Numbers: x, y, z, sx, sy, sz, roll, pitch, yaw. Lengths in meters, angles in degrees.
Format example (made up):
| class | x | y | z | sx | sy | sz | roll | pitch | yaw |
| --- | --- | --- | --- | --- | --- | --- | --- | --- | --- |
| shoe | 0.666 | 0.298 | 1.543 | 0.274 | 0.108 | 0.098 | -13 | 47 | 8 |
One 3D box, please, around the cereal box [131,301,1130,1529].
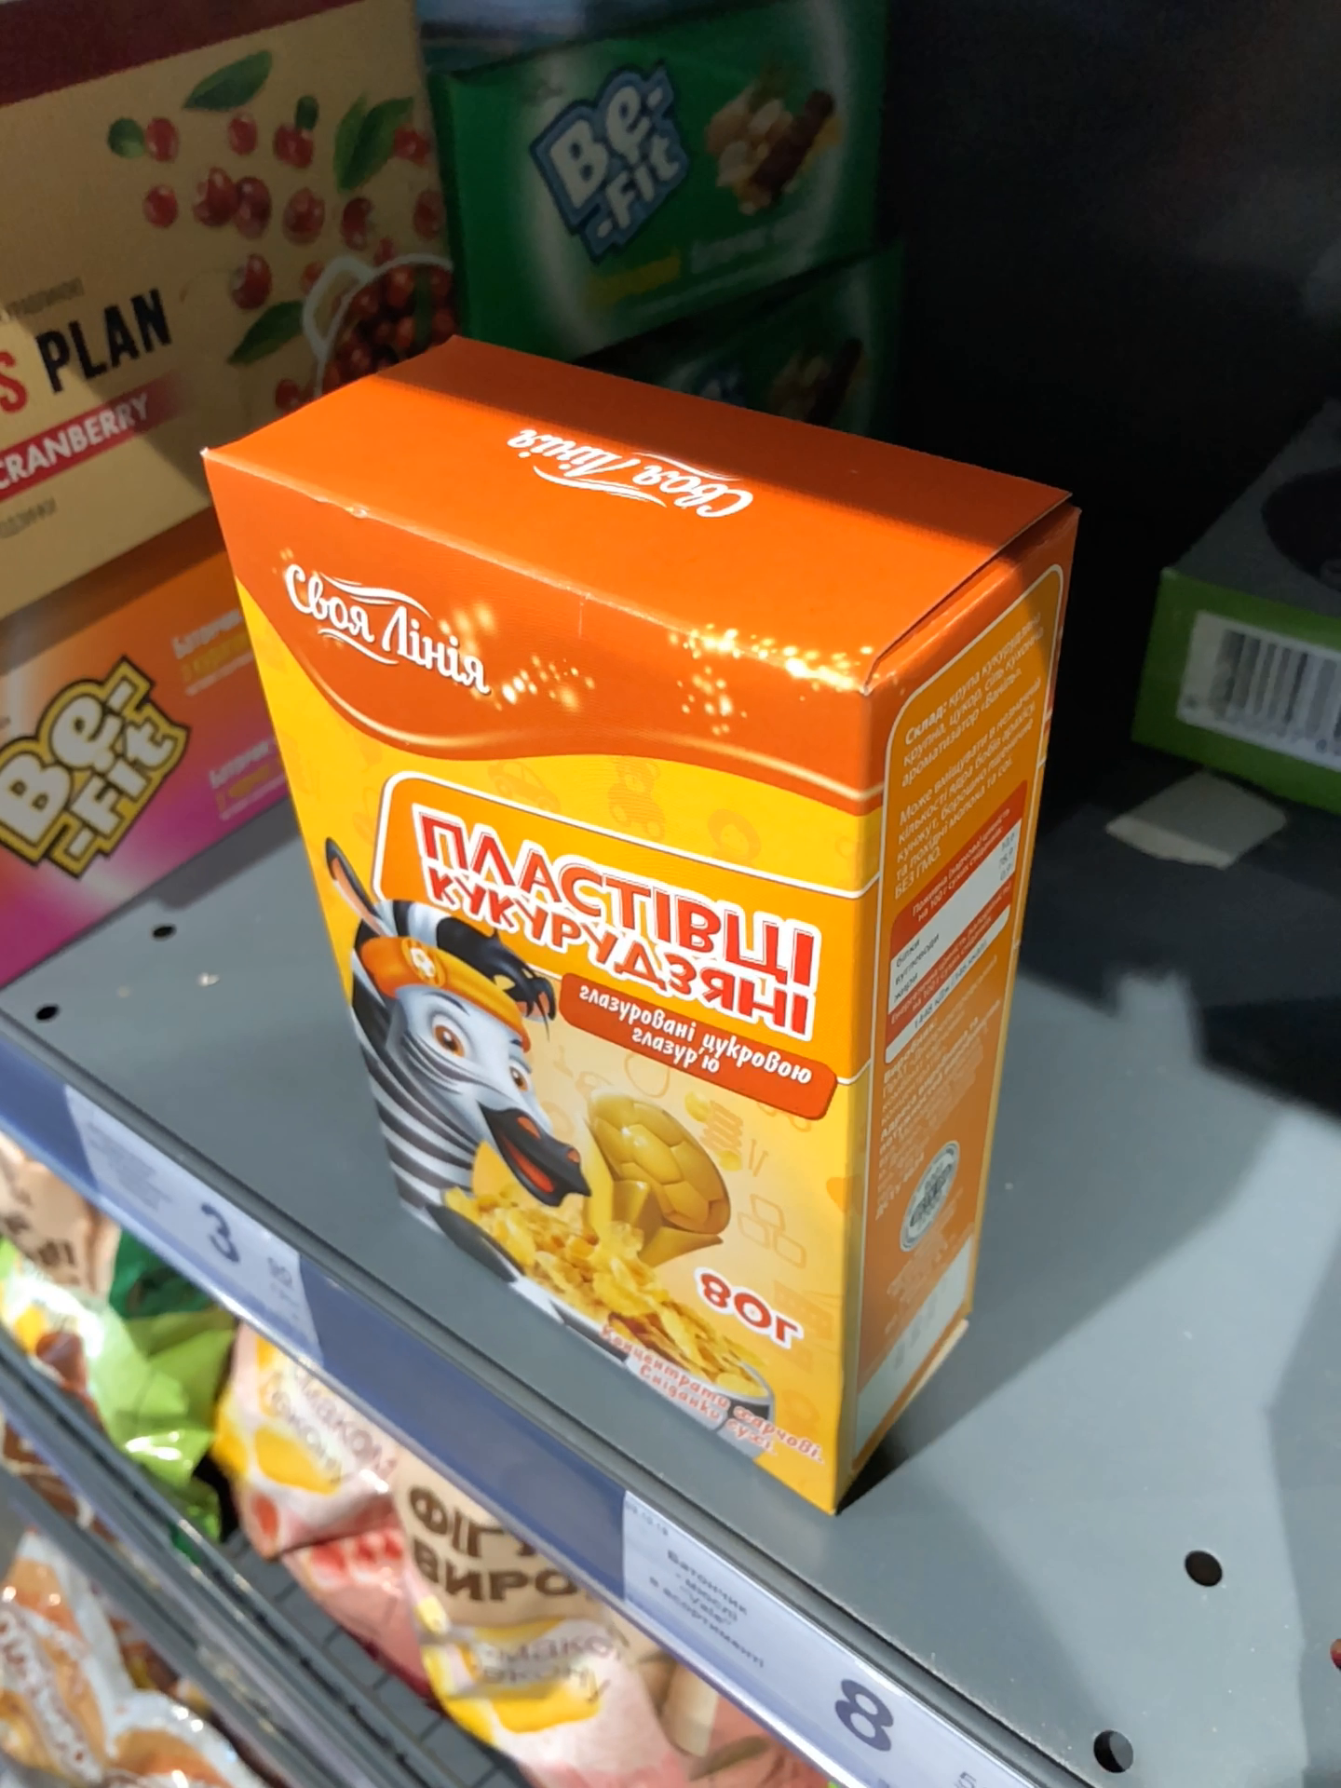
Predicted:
| class | x | y | z | sx | sy | sz | roll | pitch | yaw |
| --- | --- | --- | --- | --- | --- | --- | --- | --- | --- |
| cereal box | -0.006 | 0.006 | 0.237 | 0.120 | 0.159 | 0.050 | 26 | 49 | 31 |
